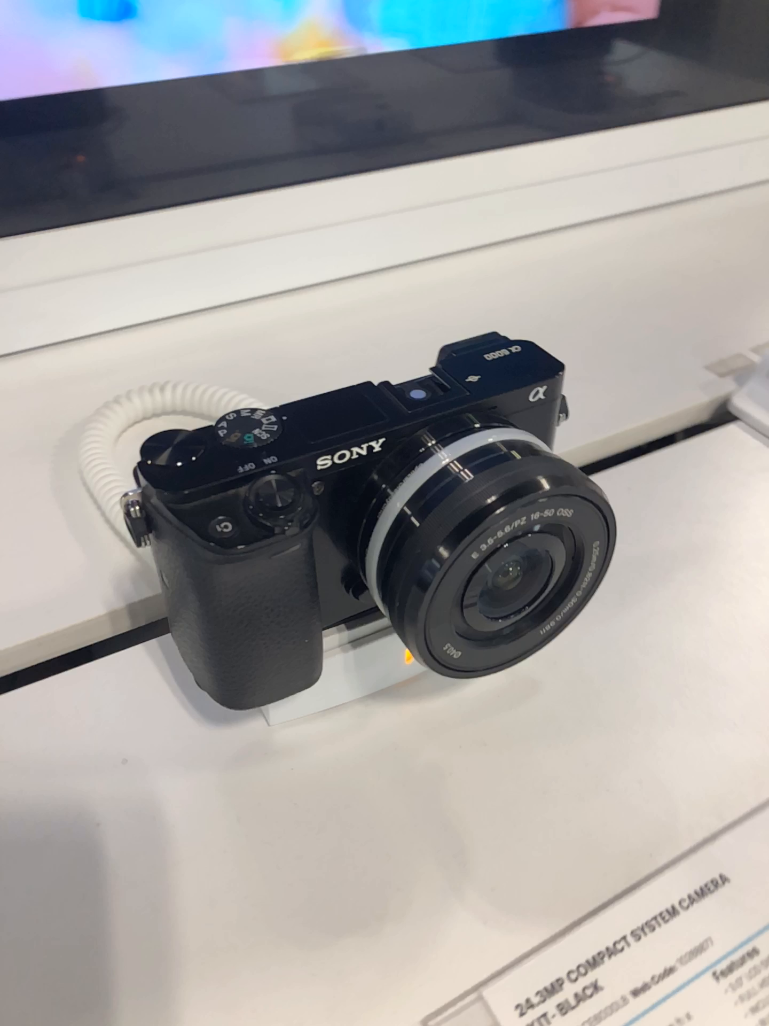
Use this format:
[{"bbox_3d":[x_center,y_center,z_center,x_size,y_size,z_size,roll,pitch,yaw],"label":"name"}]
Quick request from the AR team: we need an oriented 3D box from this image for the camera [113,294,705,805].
[{"bbox_3d":[0.006,0.002,0.221,0.120,0.070,0.070,-20,43,-22],"label":"camera"}]
